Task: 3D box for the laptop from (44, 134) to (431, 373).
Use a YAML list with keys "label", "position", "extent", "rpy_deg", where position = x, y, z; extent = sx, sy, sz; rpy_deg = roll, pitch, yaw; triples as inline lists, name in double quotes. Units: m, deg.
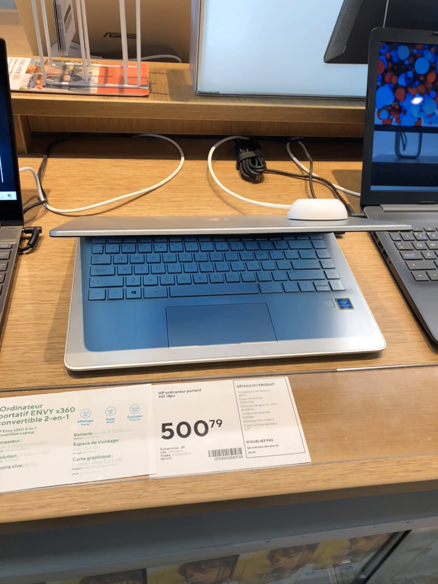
- label: "laptop"
  position: [0.005, -0.053, 0.494]
  extent: [0.314, 0.110, 0.217]
  rpy_deg: [-3, 47, -9]
